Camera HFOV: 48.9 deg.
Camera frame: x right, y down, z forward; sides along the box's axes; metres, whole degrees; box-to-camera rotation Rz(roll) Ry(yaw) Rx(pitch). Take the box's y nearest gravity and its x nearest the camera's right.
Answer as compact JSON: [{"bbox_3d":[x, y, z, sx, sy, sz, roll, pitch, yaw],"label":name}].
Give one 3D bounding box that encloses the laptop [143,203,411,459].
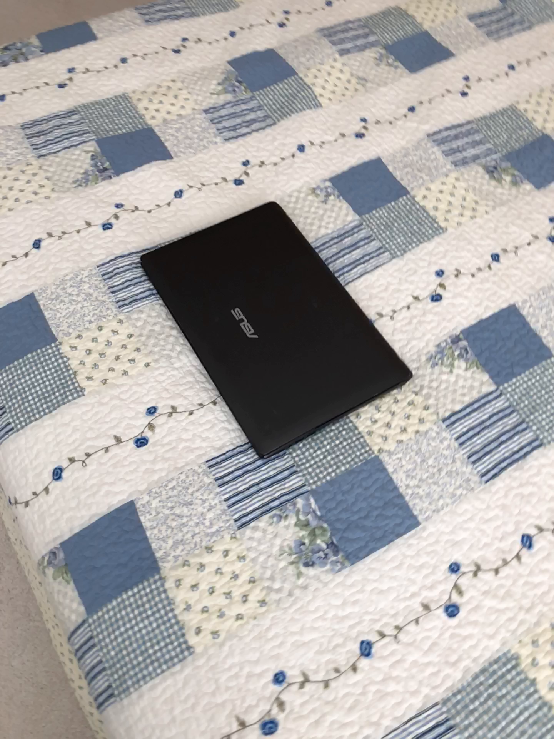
[{"bbox_3d":[-0.010,-0.078,0.883,0.234,0.006,0.369,-27,64,-16],"label":"laptop"}]
